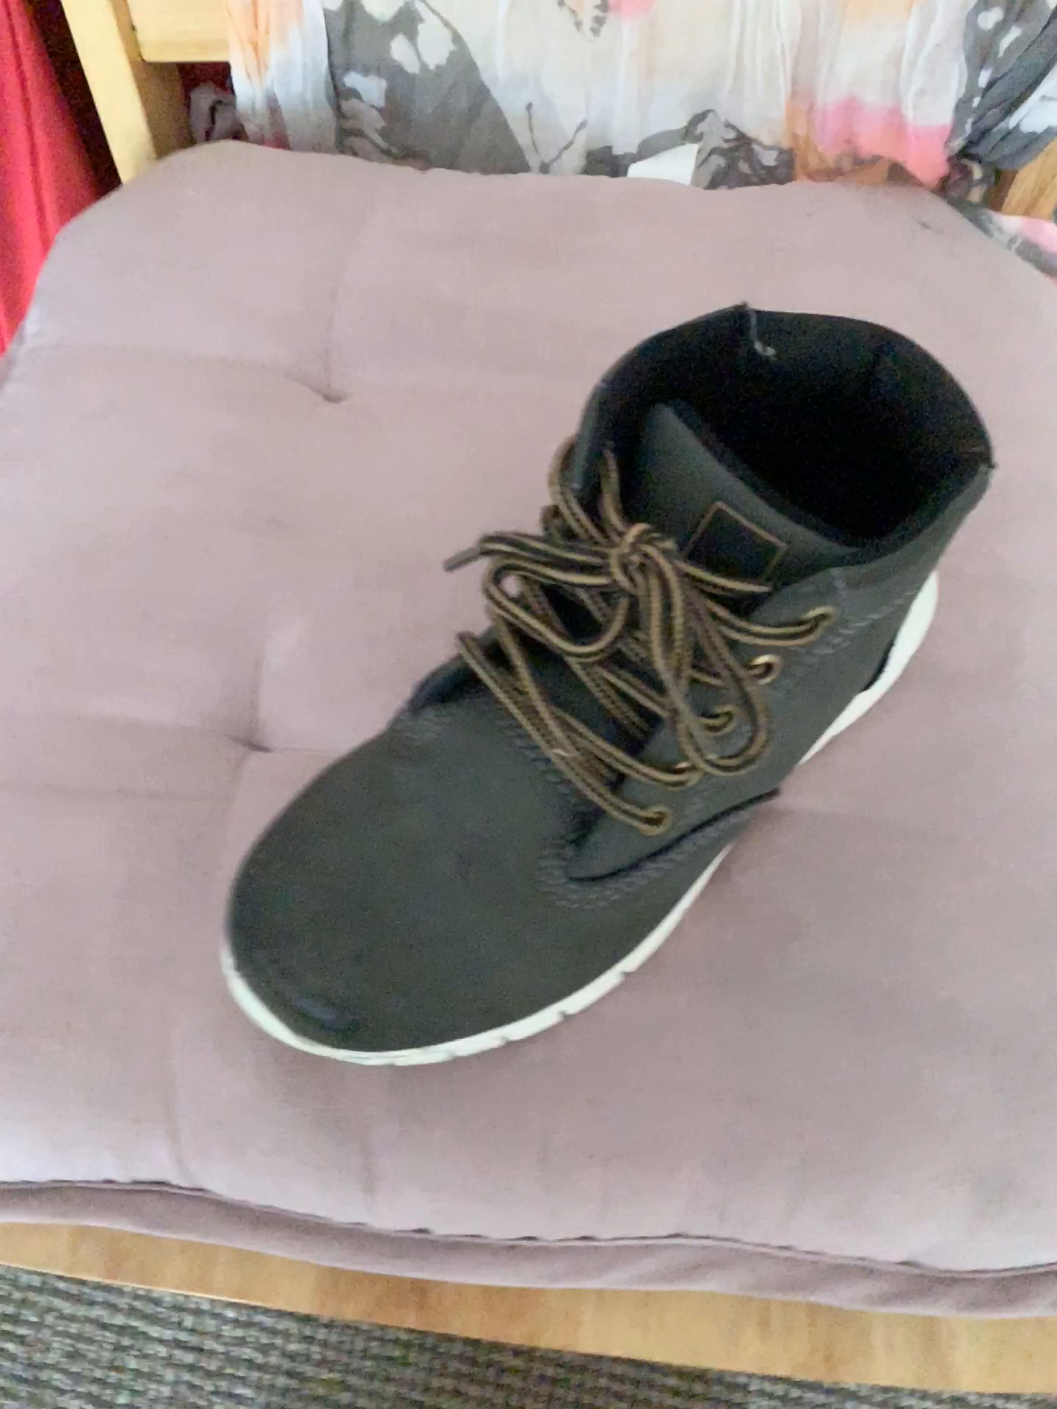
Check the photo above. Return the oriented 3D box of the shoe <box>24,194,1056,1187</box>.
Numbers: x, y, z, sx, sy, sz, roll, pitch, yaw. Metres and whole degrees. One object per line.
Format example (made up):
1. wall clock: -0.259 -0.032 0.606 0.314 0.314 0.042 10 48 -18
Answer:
1. shoe: 0.021 0.001 0.286 0.231 0.129 0.100 -40 73 -17
